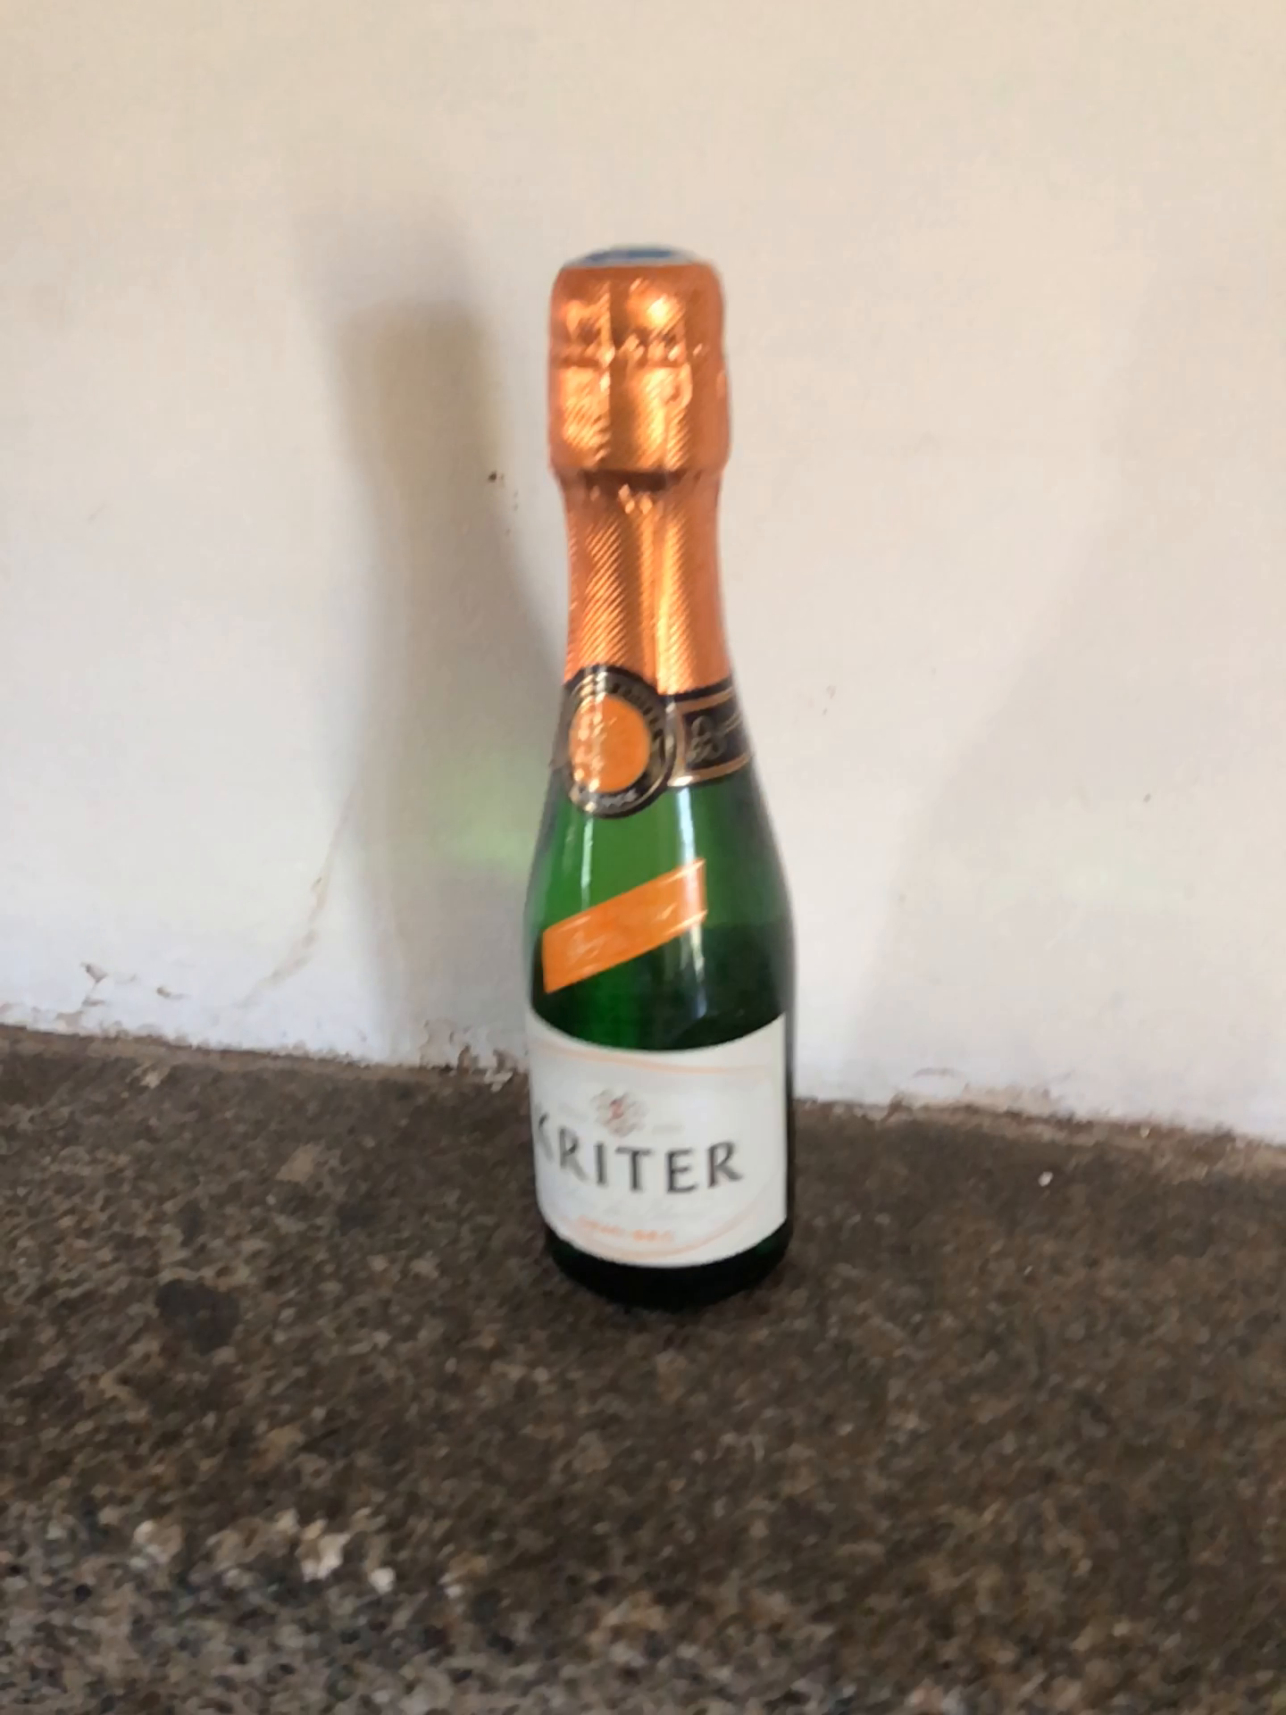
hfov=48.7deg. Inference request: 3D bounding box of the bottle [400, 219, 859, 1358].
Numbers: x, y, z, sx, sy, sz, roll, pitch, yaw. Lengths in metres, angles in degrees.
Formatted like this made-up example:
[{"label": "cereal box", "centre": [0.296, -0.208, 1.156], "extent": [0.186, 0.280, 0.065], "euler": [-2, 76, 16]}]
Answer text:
[{"label": "bottle", "centre": [0.005, -0.012, 0.275], "extent": [0.060, 0.199, 0.070], "euler": [4, 22, 15]}]
